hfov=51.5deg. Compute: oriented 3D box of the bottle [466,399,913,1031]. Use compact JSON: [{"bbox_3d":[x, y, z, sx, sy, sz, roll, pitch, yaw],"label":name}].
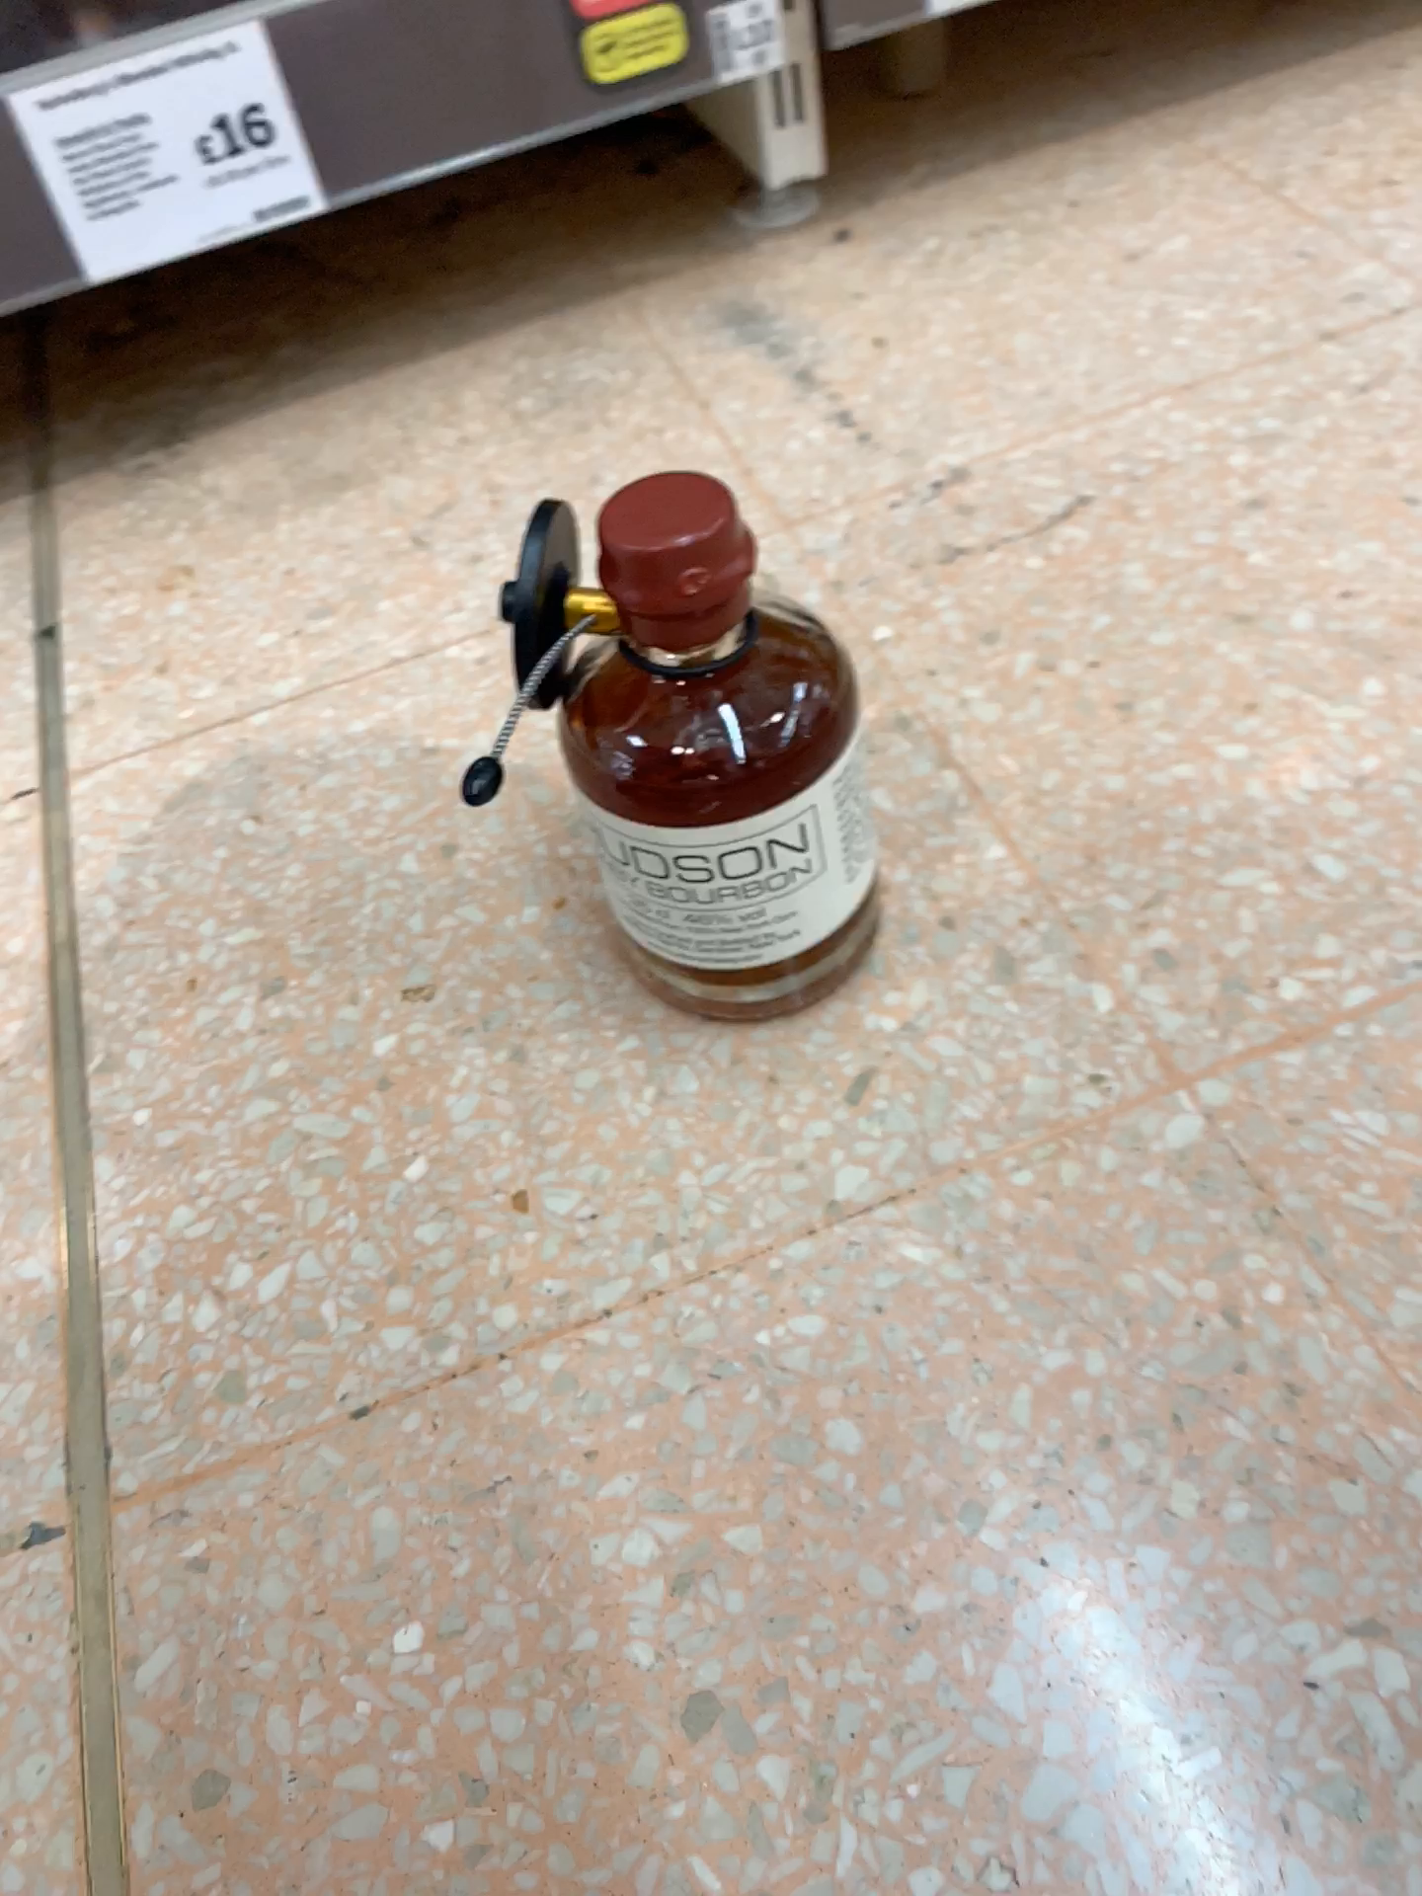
[{"bbox_3d":[0.004,-0.054,0.375,0.075,0.142,0.073,-6,49,7],"label":"bottle"}]
